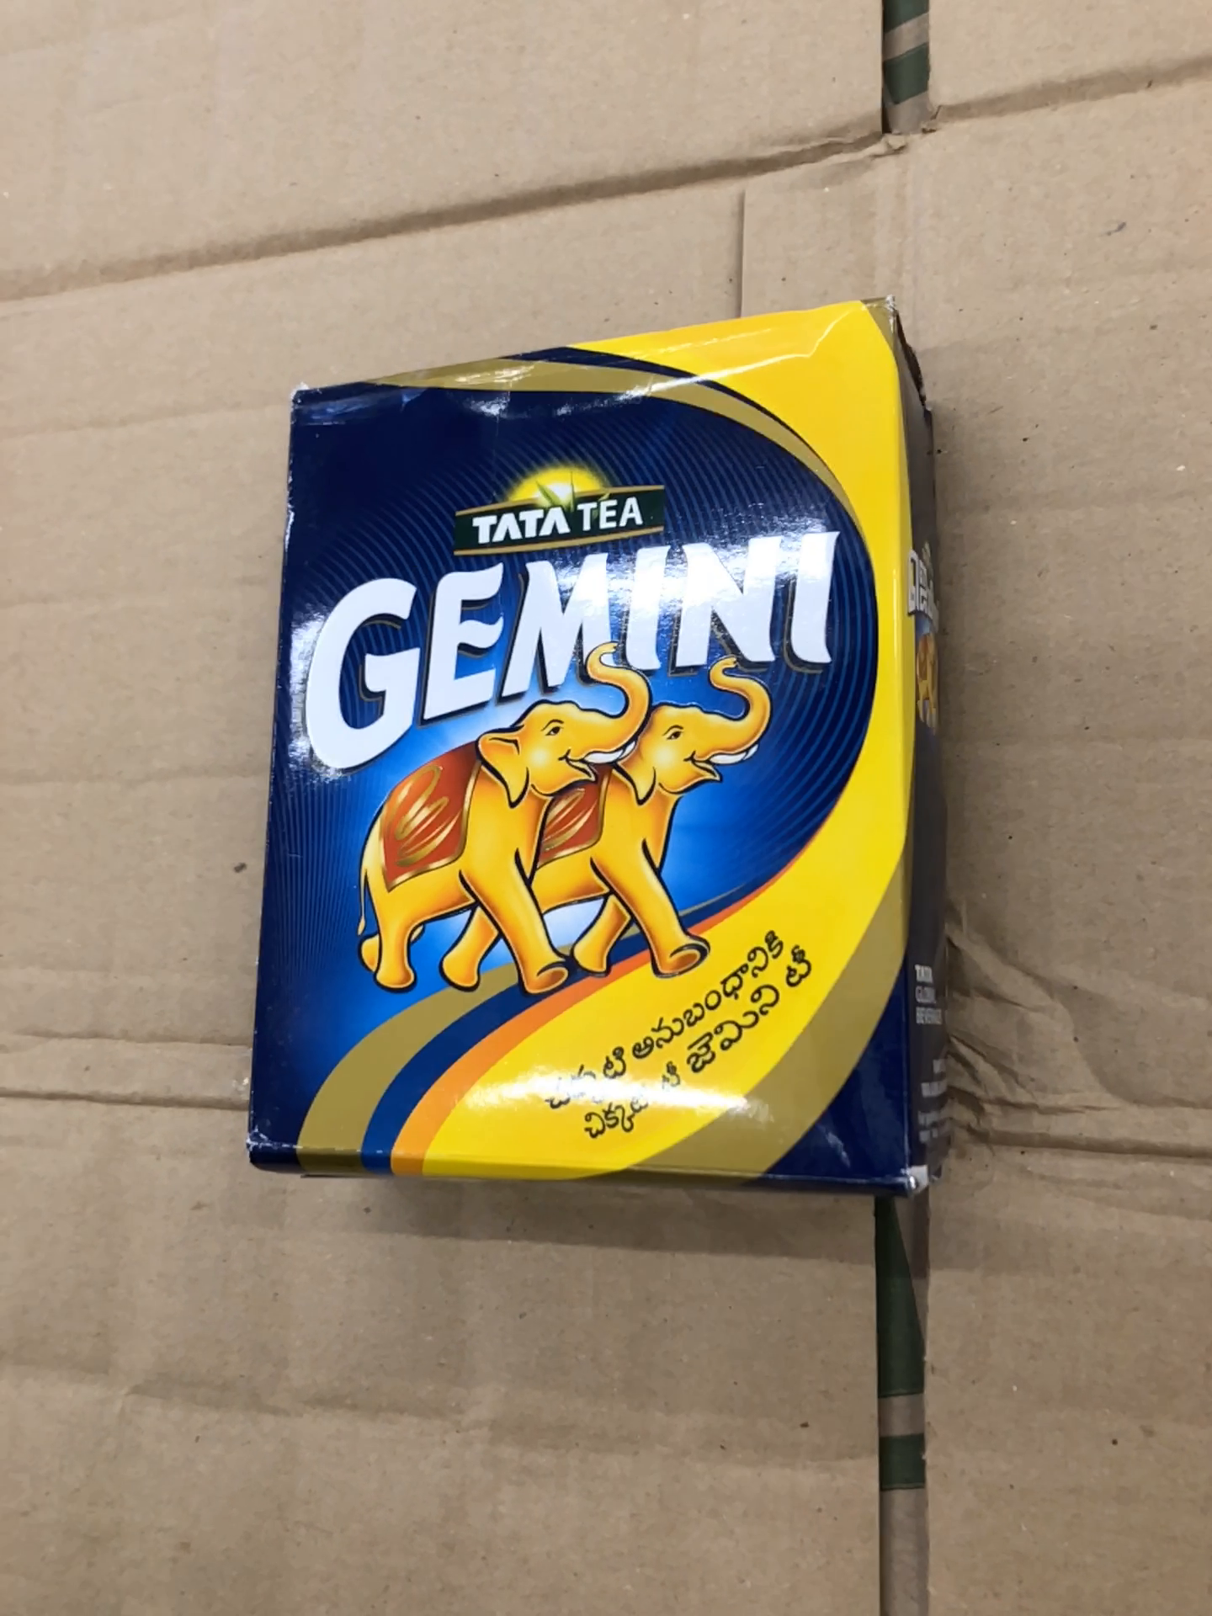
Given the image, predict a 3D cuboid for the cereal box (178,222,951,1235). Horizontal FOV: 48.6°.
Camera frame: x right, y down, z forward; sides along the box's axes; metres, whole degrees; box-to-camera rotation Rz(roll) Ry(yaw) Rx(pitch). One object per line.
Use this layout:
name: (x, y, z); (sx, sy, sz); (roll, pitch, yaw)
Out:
cereal box: (-0.008, -0.012, 0.269); (0.140, 0.050, 0.170); (-2, 82, 20)
